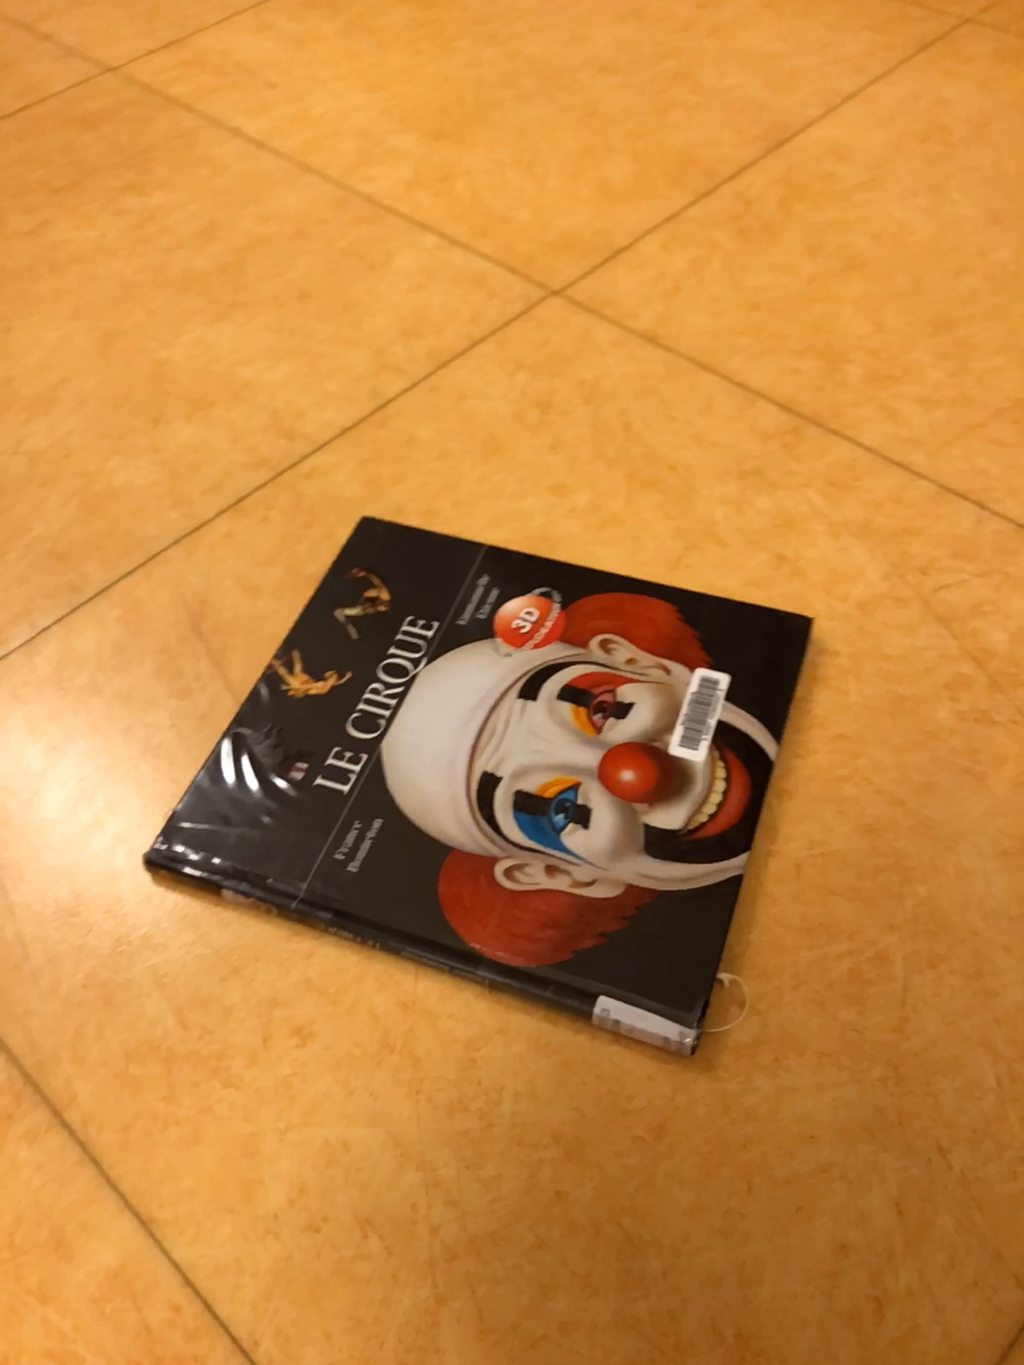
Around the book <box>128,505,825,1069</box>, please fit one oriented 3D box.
[{"bbox_3d":[-0.005,0.023,0.482,0.233,0.012,0.215,15,54,14],"label":"book"}]
